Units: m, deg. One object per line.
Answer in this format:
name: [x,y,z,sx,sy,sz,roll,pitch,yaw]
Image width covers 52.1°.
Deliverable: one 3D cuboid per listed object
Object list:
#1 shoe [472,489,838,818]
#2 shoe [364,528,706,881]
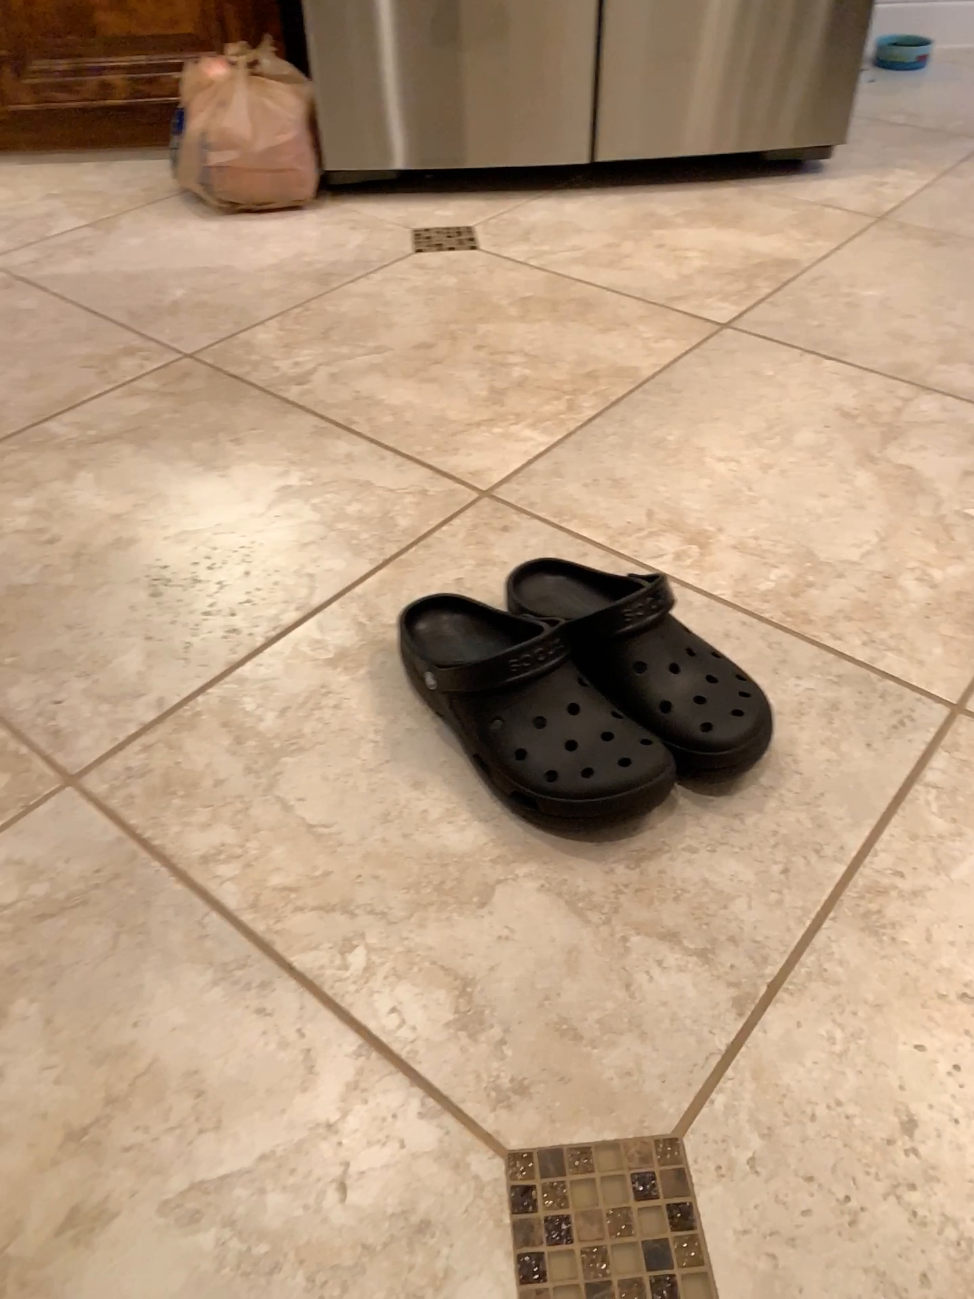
shoe: [0.121,-0.010,0.805,0.124,0.085,0.279,-28,50,-26]
shoe: [0.025,0.028,0.769,0.113,0.085,0.279,-25,48,-23]
